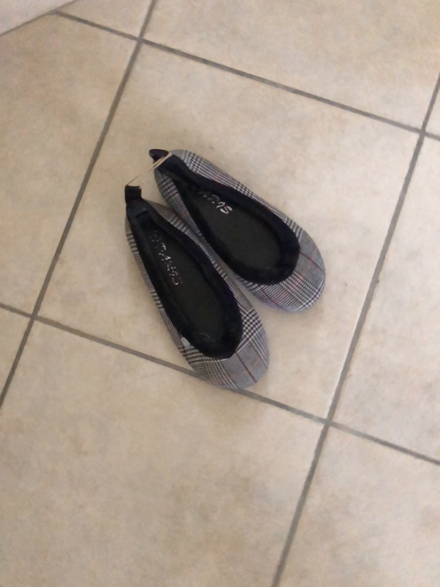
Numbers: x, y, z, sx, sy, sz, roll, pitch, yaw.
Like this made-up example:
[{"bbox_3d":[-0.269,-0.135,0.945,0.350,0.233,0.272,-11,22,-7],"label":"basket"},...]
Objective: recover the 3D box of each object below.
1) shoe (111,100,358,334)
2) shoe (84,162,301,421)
[{"bbox_3d":[0.012,-0.066,0.457,0.210,0.070,0.090,42,86,4],"label":"shoe"},{"bbox_3d":[-0.025,-0.001,0.453,0.090,0.070,0.210,-33,85,-2],"label":"shoe"}]
